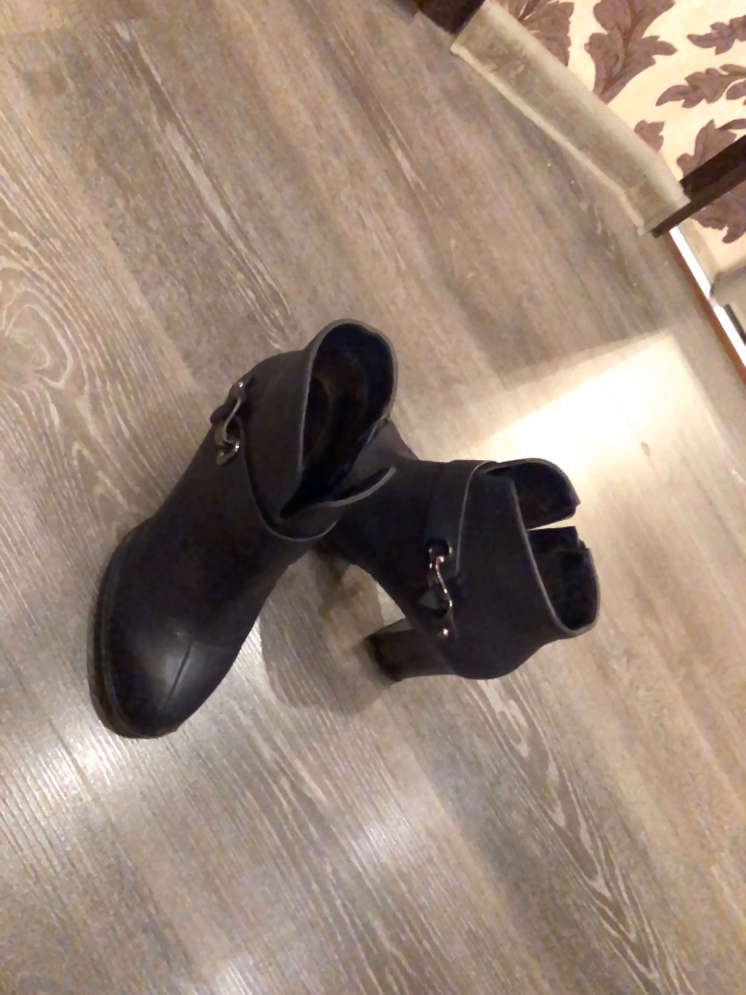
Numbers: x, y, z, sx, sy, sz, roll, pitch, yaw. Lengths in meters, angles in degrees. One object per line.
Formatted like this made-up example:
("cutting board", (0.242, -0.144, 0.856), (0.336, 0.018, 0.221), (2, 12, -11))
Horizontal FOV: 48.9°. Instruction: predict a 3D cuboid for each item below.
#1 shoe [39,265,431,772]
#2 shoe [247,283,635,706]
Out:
("shoe", (-0.078, 0.026, 0.437), (0.090, 0.189, 0.211), (24, 64, -23))
("shoe", (0.028, 0.009, 0.517), (0.090, 0.189, 0.210), (-15, 83, -33))
